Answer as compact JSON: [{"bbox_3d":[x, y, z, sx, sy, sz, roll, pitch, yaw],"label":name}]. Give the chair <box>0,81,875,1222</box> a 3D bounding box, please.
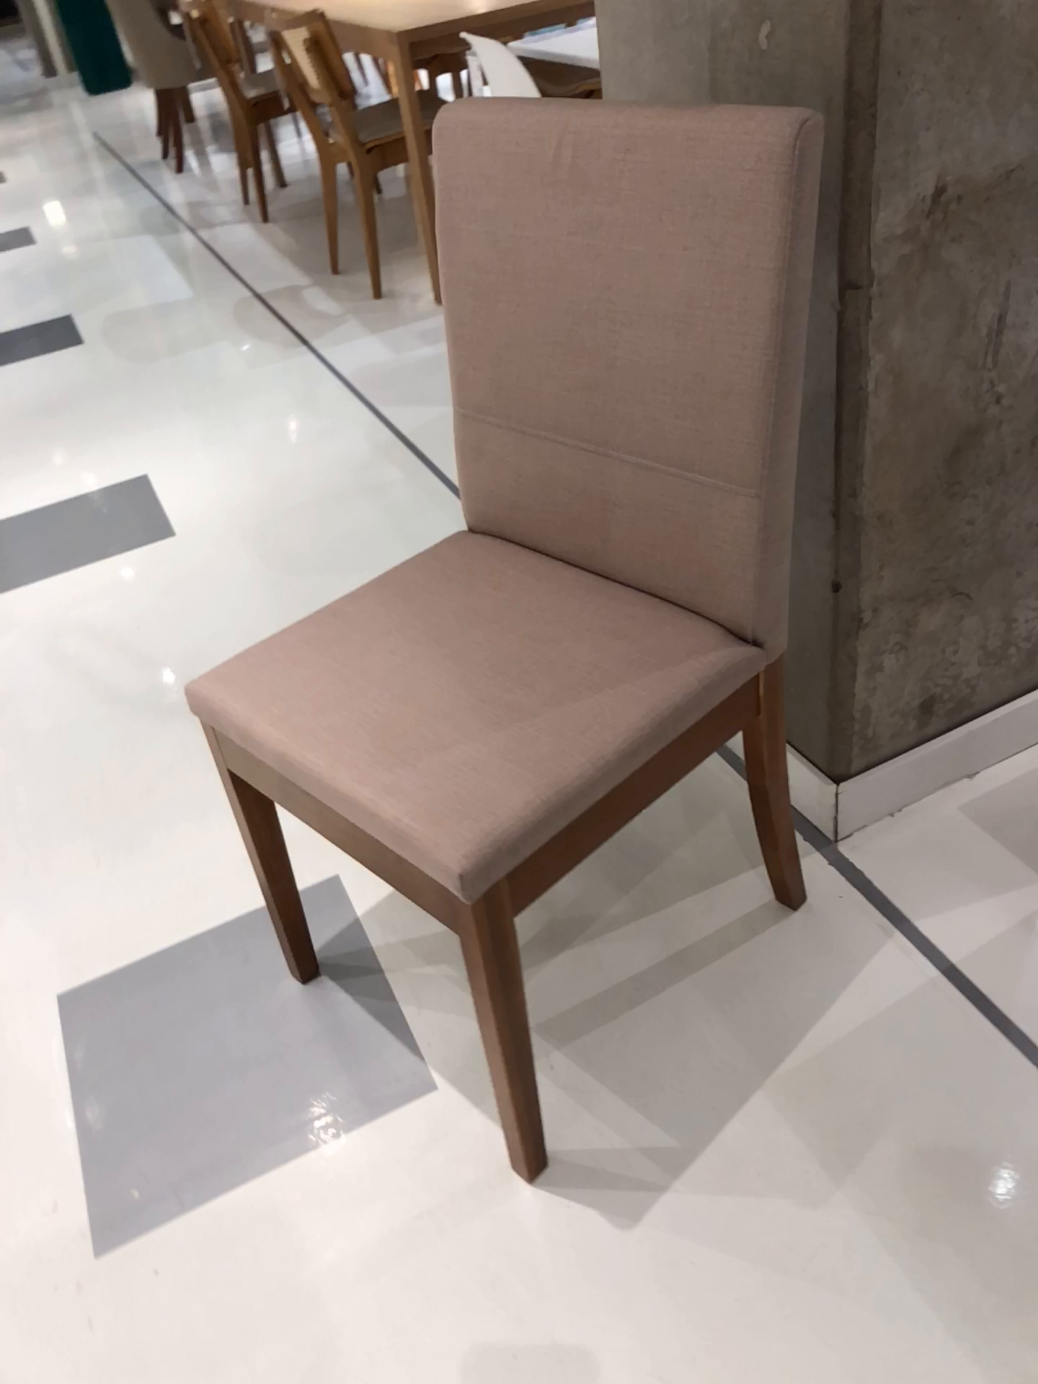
[{"bbox_3d":[-0.040,-0.062,1.208,0.542,0.933,0.563,-35,43,-30],"label":"chair"}]
